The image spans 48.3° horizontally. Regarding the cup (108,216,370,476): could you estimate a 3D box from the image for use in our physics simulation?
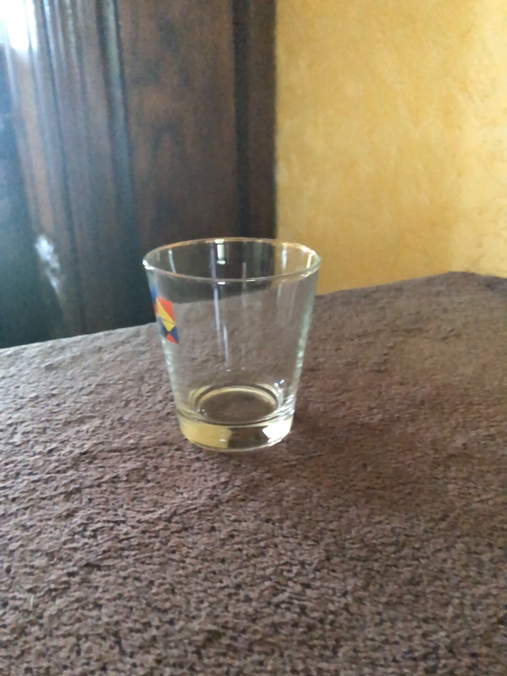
[{"bbox_3d":[-0.007,-0.005,0.253,0.080,0.080,0.080,-1,21,0],"label":"cup"}]
